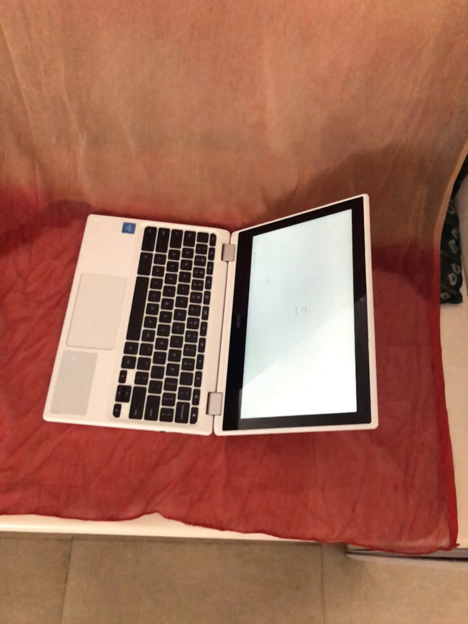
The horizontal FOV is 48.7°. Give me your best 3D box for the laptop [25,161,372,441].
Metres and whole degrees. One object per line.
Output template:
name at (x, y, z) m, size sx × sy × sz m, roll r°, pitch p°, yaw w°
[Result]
laptop at (-0.028, -0.012, 0.605) m, size 0.337 × 0.113 × 0.264 m, roll 6°, pitch 66°, yaw -2°
